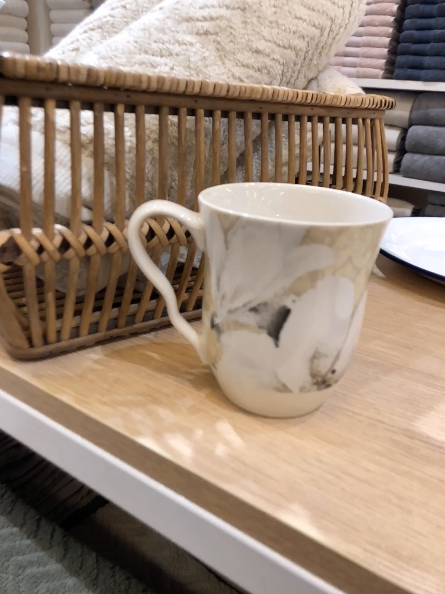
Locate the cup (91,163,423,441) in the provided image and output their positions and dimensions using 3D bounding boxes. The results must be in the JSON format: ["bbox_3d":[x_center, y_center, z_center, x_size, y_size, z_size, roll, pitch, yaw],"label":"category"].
[{"bbox_3d":[0.014,-0.006,0.251,0.130,0.099,0.091,7,22,6],"label":"cup"}]
